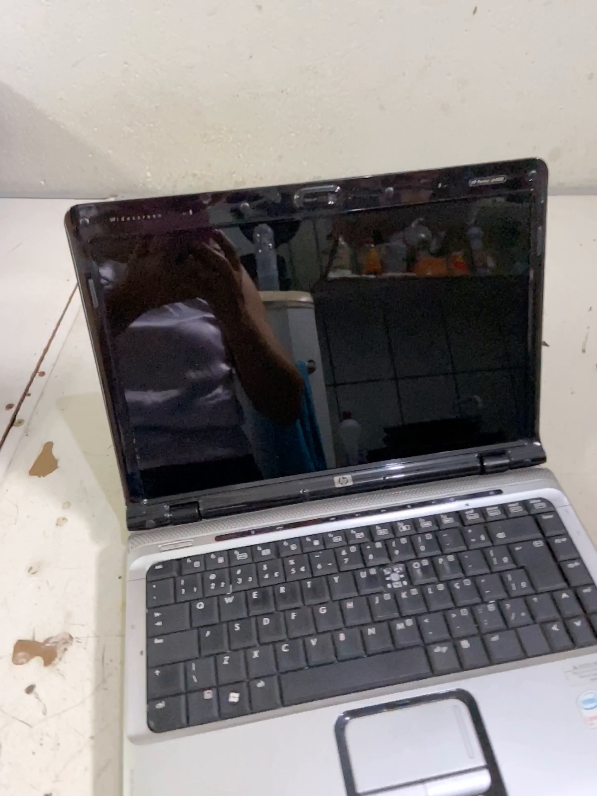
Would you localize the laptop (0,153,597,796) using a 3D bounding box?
[{"bbox_3d":[0.044,0.043,0.361,0.321,0.193,0.335,-8,48,-6],"label":"laptop"}]
